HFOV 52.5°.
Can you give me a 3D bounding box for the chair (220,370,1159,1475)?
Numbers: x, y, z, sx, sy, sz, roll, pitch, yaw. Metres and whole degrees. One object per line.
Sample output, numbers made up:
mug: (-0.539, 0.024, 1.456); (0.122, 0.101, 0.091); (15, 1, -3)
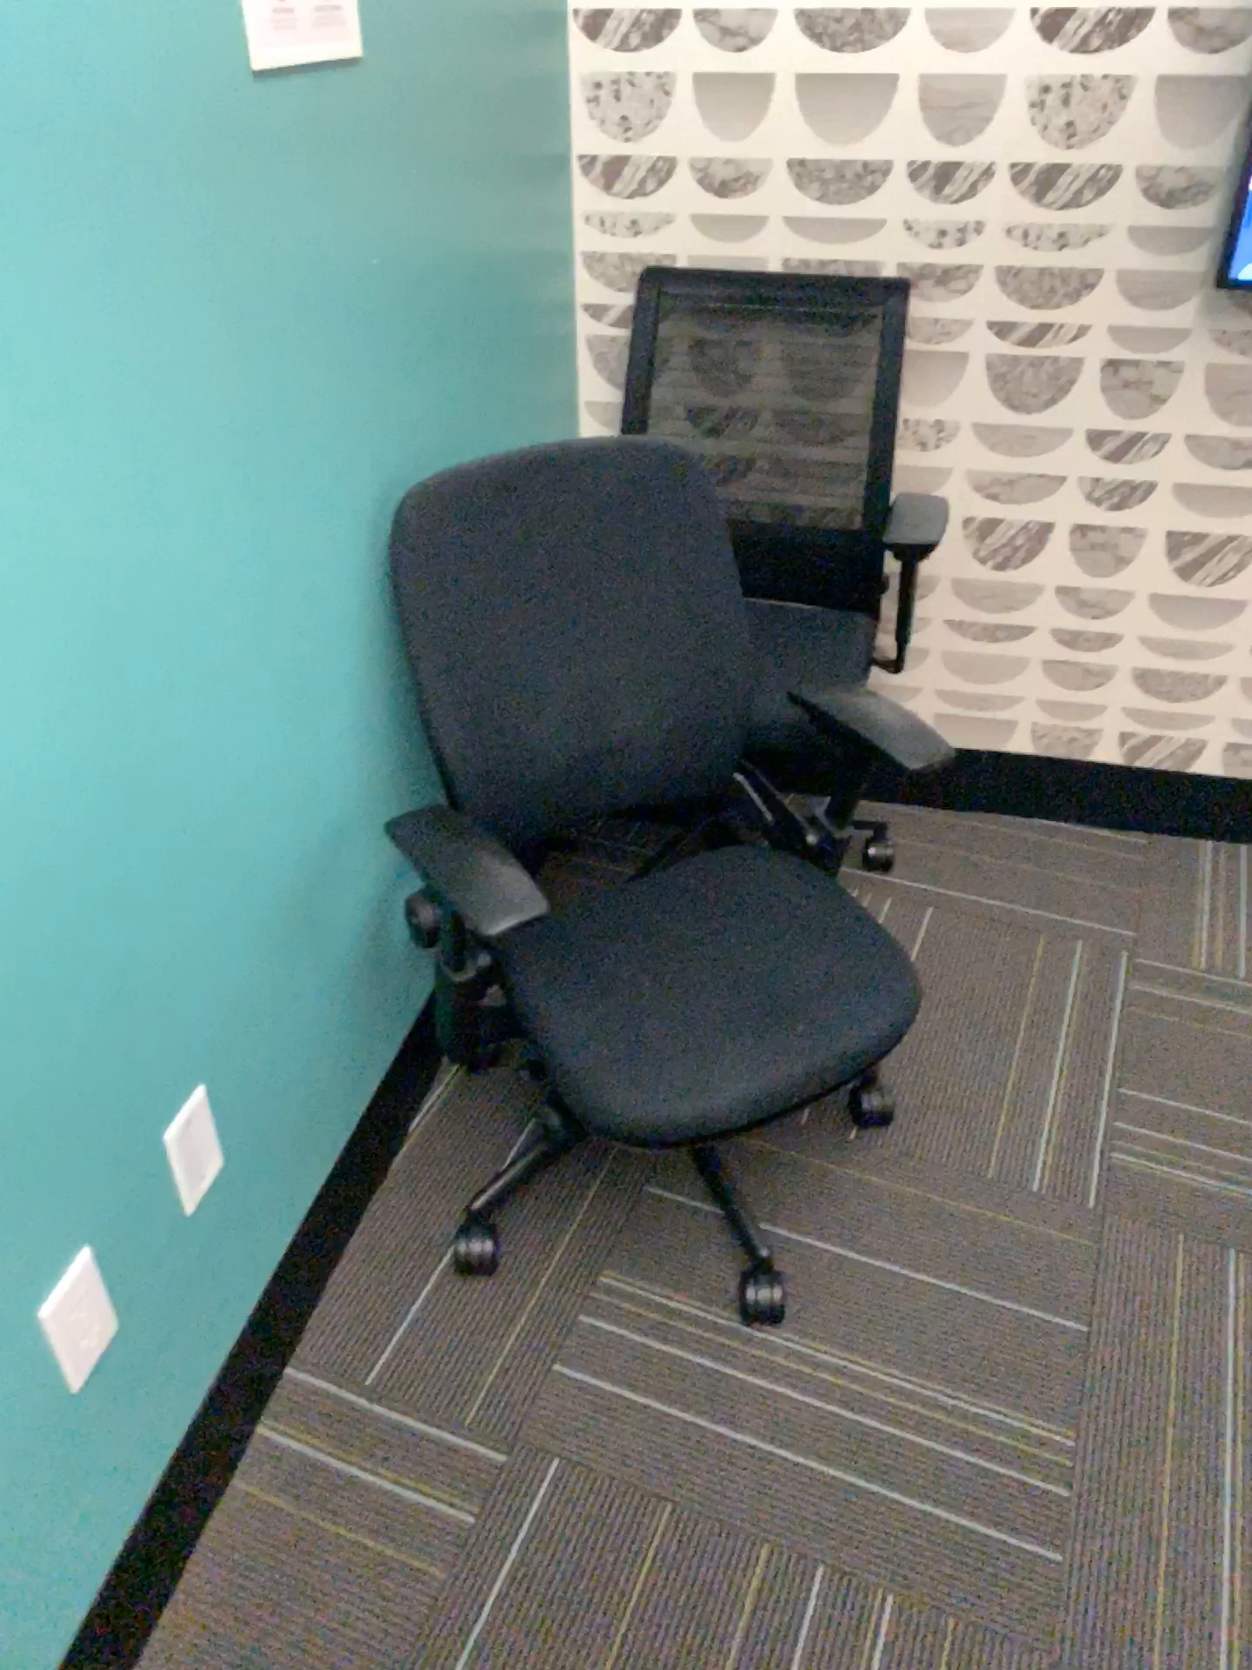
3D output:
chair: (0.017, 0.041, 1.573); (0.660, 0.944, 0.774); (-18, 37, -24)
